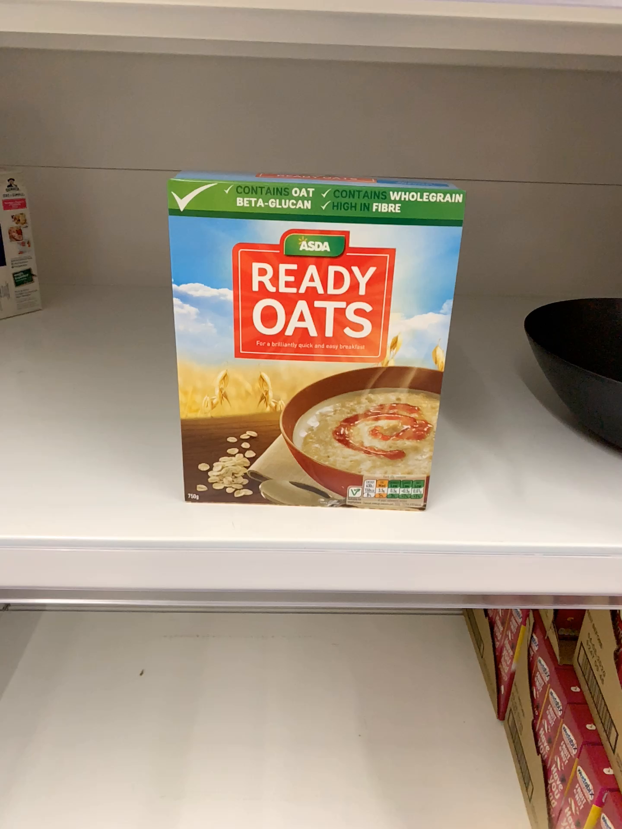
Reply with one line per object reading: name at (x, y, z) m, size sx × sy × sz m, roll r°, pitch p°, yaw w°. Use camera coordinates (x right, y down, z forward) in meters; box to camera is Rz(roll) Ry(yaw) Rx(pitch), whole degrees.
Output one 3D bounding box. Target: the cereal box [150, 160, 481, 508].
cereal box at (-0.001, -0.060, 0.515) m, size 0.220 × 0.258 × 0.081 m, roll 2°, pitch 25°, yaw 0°
